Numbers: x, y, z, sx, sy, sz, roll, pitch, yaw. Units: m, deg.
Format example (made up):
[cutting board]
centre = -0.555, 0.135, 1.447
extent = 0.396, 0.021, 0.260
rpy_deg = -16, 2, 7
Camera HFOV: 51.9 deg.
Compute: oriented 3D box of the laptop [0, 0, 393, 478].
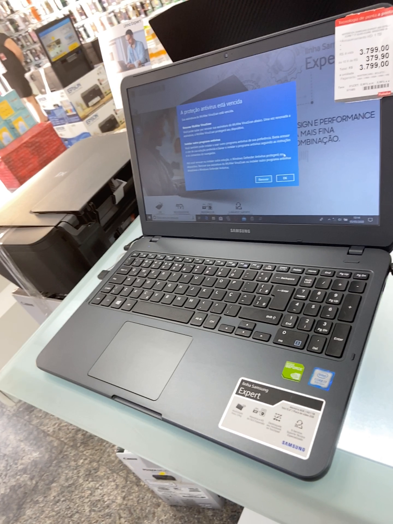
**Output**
[laptop]
centre = -0.013, -0.060, 0.449
extent = 0.371, 0.207, 0.372
rpy_deg = 5, 46, 36
